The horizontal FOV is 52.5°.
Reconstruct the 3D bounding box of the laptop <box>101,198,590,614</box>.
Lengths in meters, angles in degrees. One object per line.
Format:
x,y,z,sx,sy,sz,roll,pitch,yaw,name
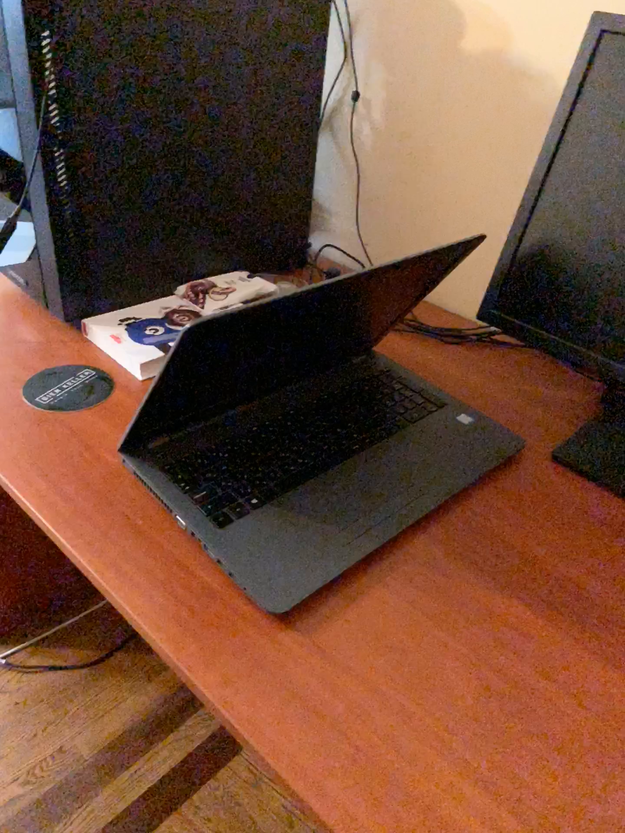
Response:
0.035,-0.051,0.626,0.375,0.207,0.249,-24,46,-36,laptop
